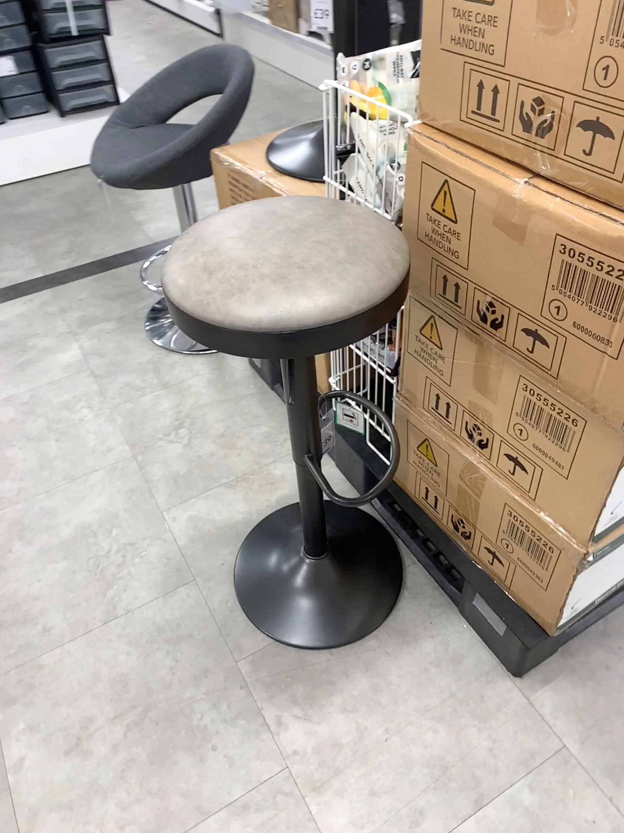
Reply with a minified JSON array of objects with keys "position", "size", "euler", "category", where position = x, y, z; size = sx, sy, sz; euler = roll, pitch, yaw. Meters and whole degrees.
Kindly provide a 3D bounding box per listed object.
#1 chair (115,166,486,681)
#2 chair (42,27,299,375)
[{"position":[-0.038,0.036,1.144],"size":[0.433,0.740,0.462],"euler":[-11,43,-7],"category":"chair"},{"position":[-0.373,-0.610,1.808],"size":[0.453,0.721,0.511],"euler":[-21,46,-18],"category":"chair"}]
